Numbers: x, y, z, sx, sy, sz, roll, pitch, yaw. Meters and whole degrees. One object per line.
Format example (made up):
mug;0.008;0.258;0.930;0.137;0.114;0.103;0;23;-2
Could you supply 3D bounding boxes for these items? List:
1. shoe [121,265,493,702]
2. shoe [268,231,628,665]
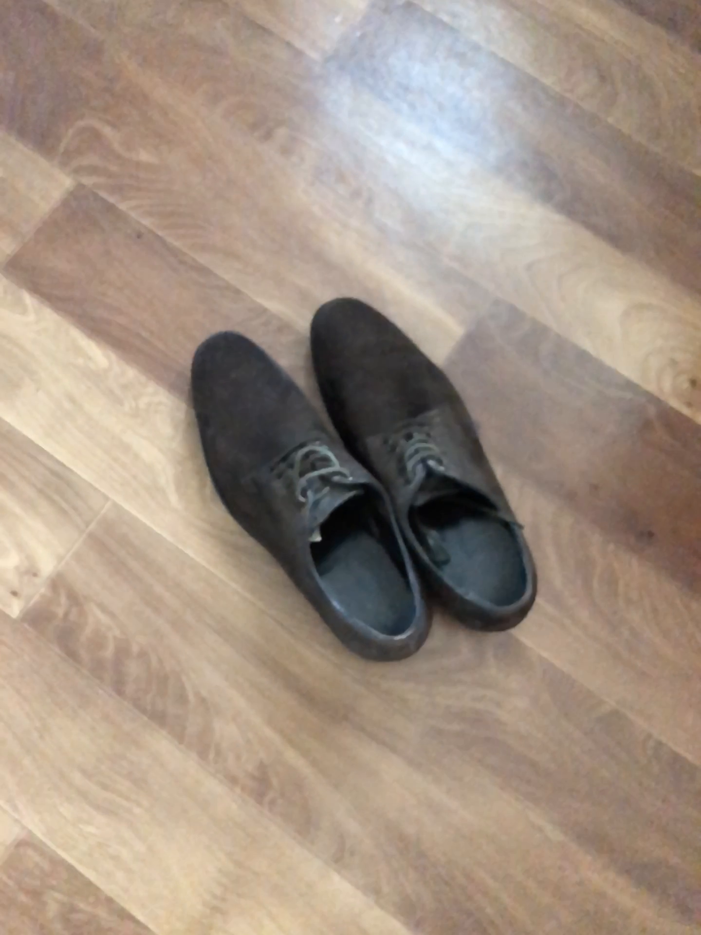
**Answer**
shoe;-0.037;0.013;0.611;0.120;0.100;0.310;-33;79;-9
shoe;0.065;-0.013;0.617;0.120;0.100;0.310;-29;78;-8
